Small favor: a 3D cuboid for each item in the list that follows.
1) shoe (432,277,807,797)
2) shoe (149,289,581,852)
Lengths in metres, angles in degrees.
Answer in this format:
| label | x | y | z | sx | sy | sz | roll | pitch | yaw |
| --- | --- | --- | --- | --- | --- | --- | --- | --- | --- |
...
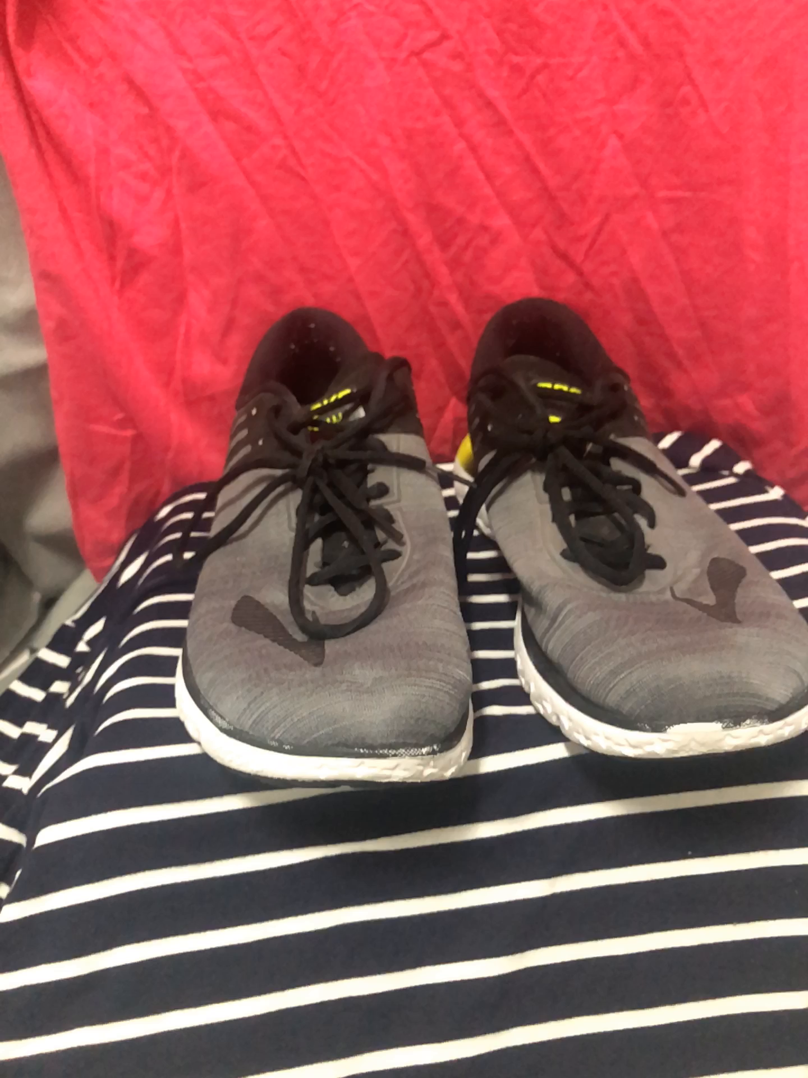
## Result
| label | x | y | z | sx | sy | sz | roll | pitch | yaw |
| --- | --- | --- | --- | --- | --- | --- | --- | --- | --- |
| shoe | 0.088 | -0.033 | 0.362 | 0.104 | 0.079 | 0.282 | -6 | 28 | -6 |
| shoe | -0.030 | -0.024 | 0.356 | 0.102 | 0.079 | 0.292 | -7 | 28 | -7 |
